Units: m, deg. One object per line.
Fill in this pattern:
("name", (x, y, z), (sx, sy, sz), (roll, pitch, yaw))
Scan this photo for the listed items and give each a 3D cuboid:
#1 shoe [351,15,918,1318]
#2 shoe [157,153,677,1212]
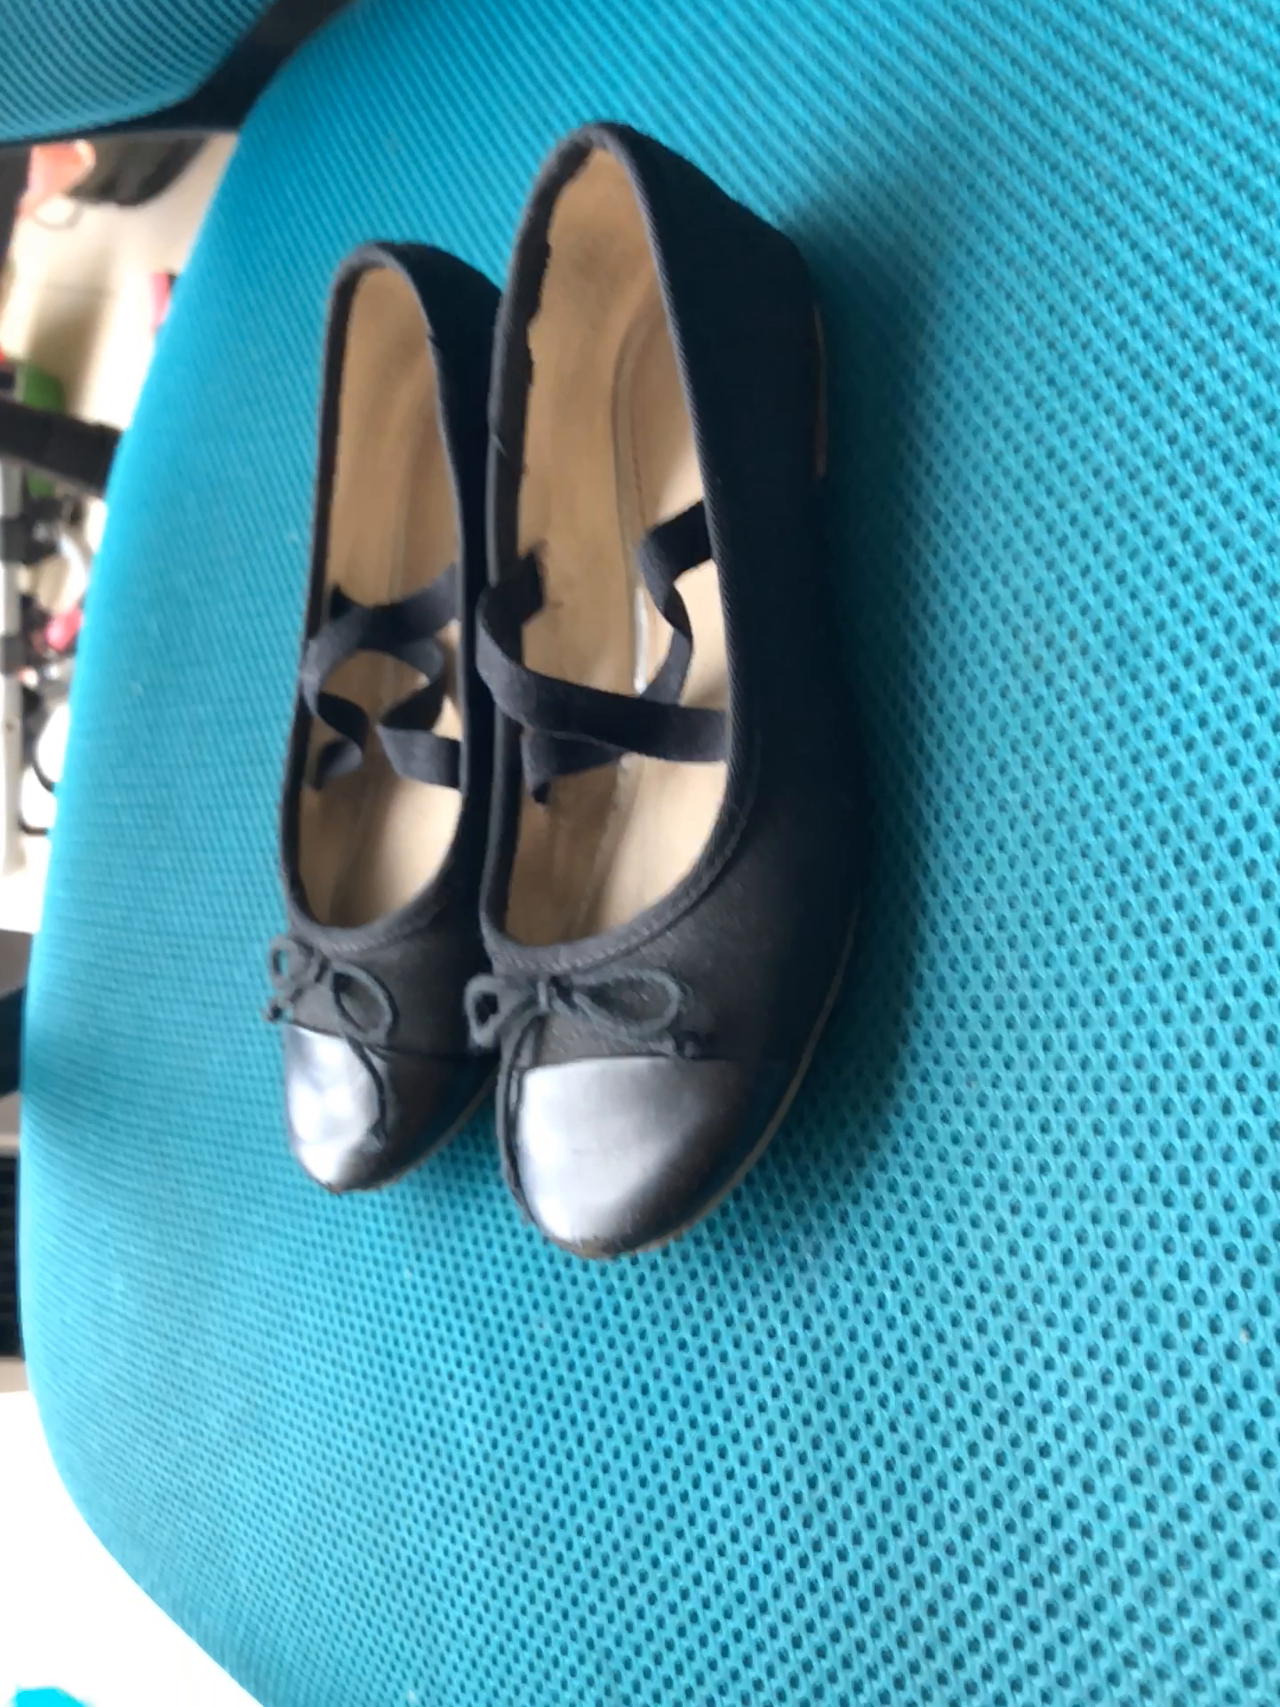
("shoe", (0.001, -0.027, 0.242), (0.069, 0.050, 0.190), (-6, 77, 46))
("shoe", (-0.046, -0.030, 0.299), (0.081, 0.050, 0.194), (-3, 78, 46))
